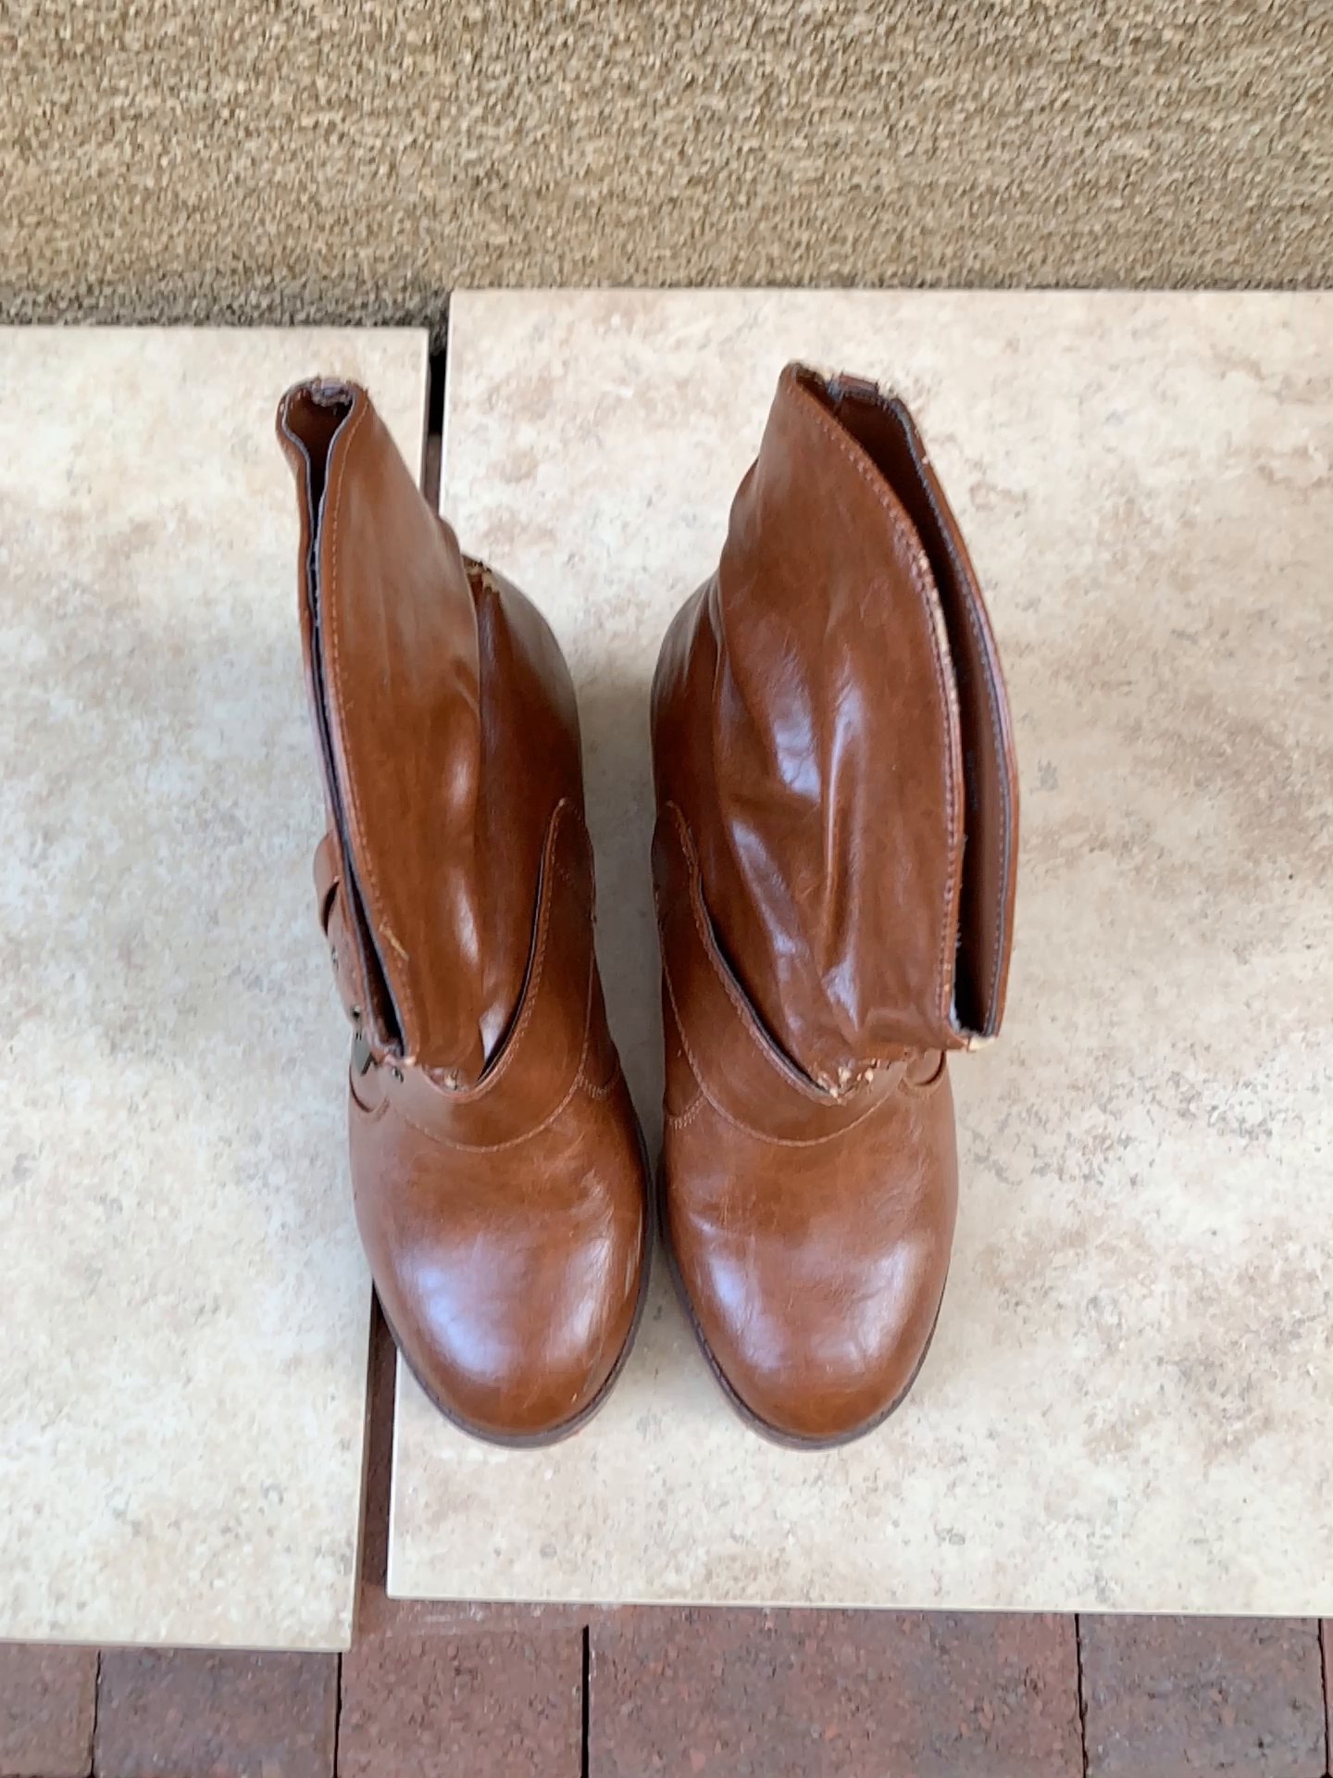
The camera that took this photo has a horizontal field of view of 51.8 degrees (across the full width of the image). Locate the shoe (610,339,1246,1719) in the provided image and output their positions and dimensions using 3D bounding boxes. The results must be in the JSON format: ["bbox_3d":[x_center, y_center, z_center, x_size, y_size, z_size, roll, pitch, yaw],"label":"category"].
[{"bbox_3d":[0.043,0.032,0.344,0.100,0.200,0.245,-1,80,1],"label":"shoe"}]

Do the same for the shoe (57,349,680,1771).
[{"bbox_3d":[-0.058,0.036,0.344,0.095,0.200,0.245,-6,79,0],"label":"shoe"}]
